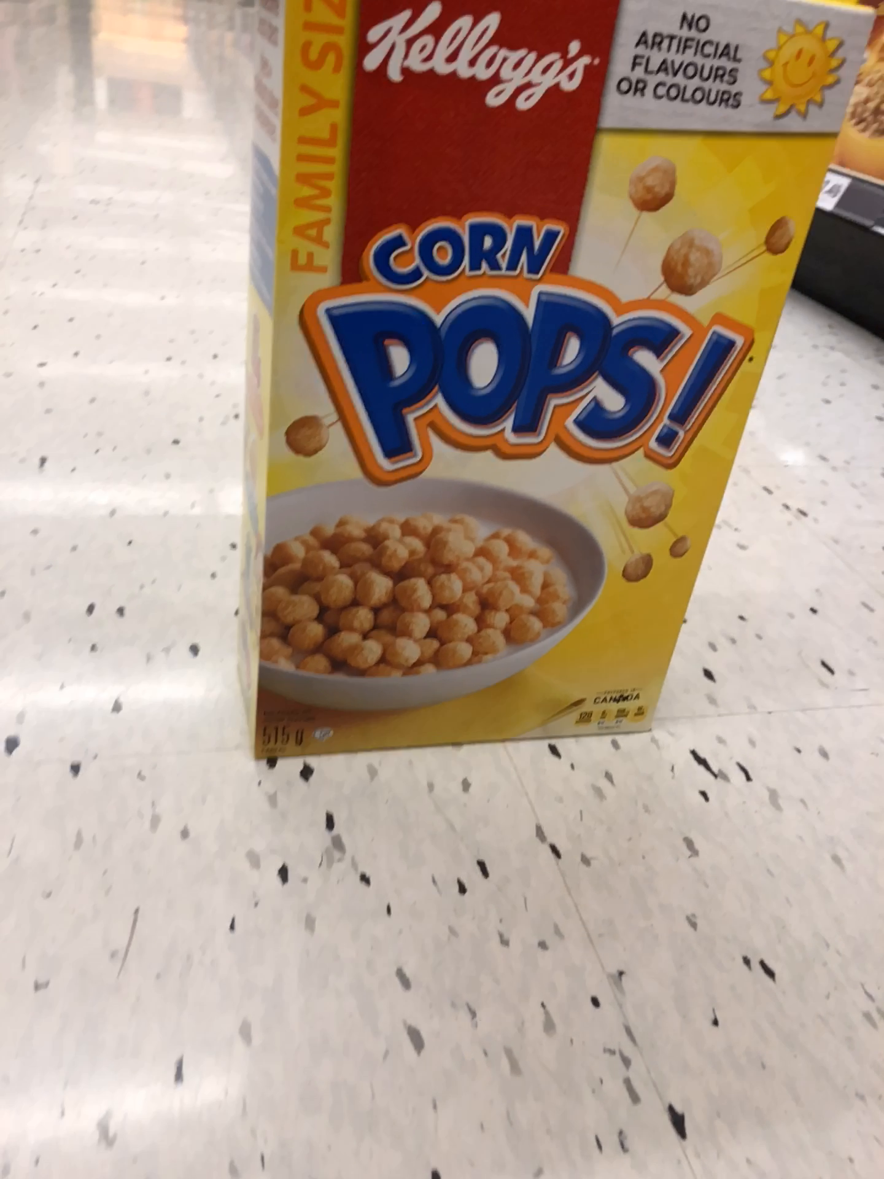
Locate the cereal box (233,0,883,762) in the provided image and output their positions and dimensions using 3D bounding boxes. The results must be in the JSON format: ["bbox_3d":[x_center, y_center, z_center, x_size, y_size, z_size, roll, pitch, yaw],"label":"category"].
[{"bbox_3d":[0.021,-0.087,0.417,0.200,0.318,0.101,-1,33,-17],"label":"cereal box"}]
